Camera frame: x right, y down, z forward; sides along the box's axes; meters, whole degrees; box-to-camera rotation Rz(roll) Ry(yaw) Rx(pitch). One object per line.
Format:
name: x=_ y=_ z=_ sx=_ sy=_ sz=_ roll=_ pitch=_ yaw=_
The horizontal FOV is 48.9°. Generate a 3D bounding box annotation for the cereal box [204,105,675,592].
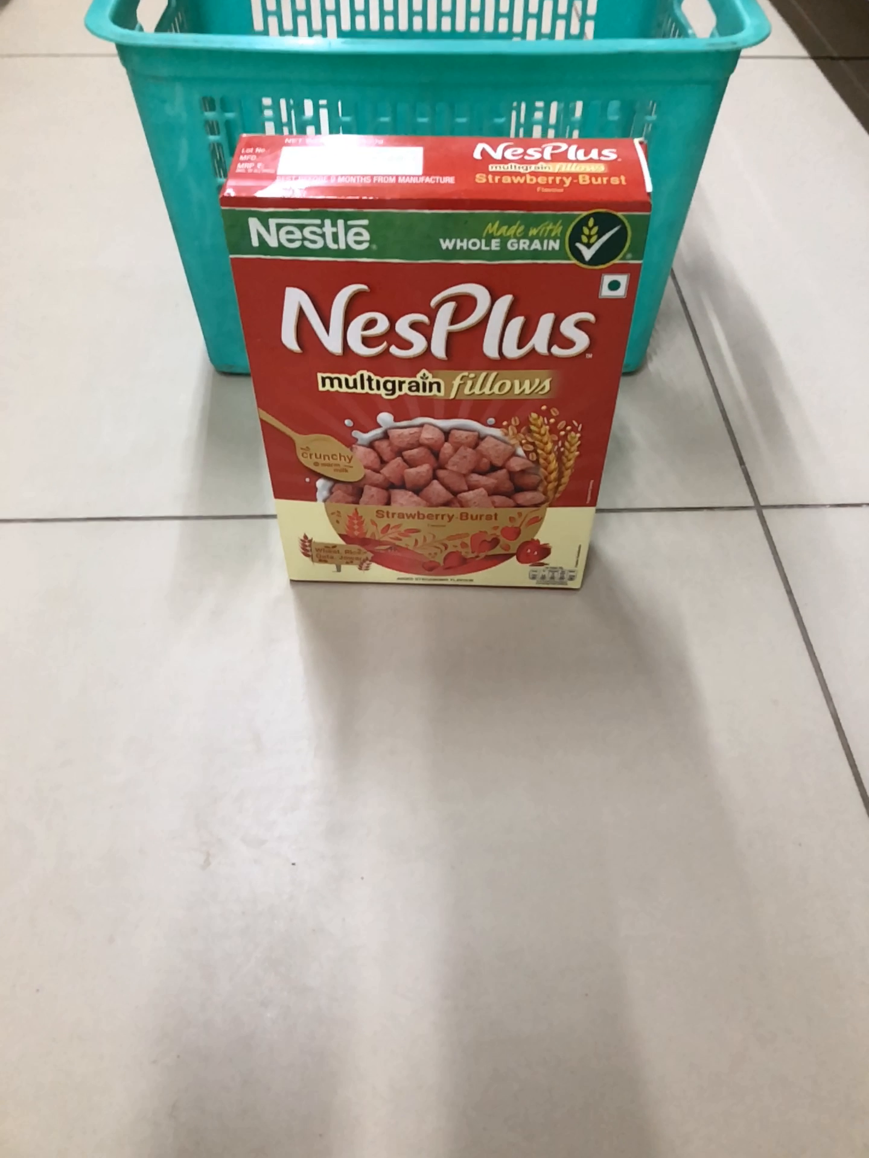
cereal box: x=0.001 y=-0.102 z=0.503 sx=0.190 sy=0.258 sz=0.060 roll=2 pitch=50 yaw=1
